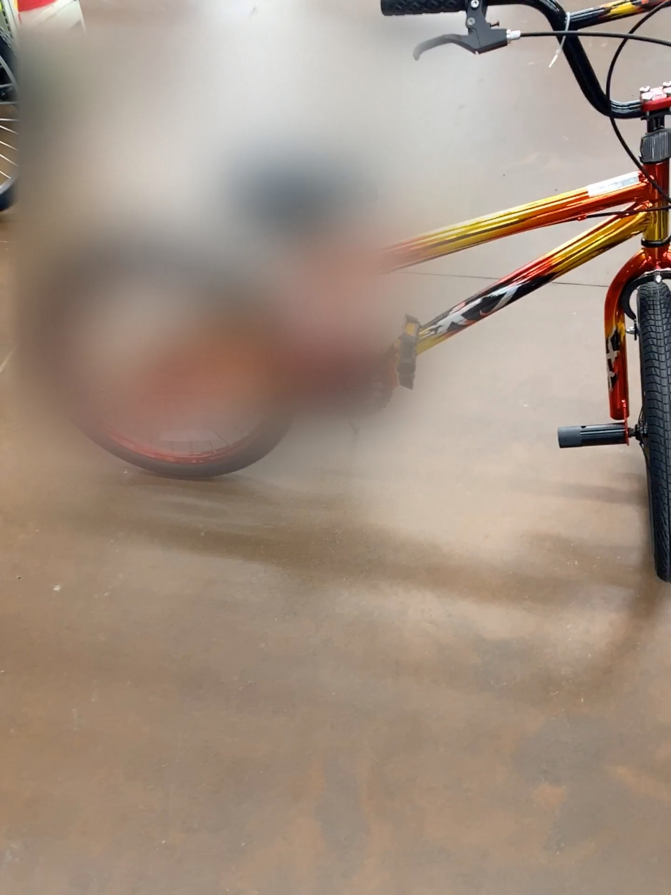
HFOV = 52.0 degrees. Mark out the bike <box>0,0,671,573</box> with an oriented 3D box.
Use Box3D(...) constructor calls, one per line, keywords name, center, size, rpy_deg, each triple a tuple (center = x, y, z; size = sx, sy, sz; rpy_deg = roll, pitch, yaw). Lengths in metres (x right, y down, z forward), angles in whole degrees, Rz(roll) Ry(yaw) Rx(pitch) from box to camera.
Box3D(name="bike", center=(0.031, -0.401, 1.099), size=(1.122, 0.926, 0.706), rpy_deg=(-2, 48, 1))
